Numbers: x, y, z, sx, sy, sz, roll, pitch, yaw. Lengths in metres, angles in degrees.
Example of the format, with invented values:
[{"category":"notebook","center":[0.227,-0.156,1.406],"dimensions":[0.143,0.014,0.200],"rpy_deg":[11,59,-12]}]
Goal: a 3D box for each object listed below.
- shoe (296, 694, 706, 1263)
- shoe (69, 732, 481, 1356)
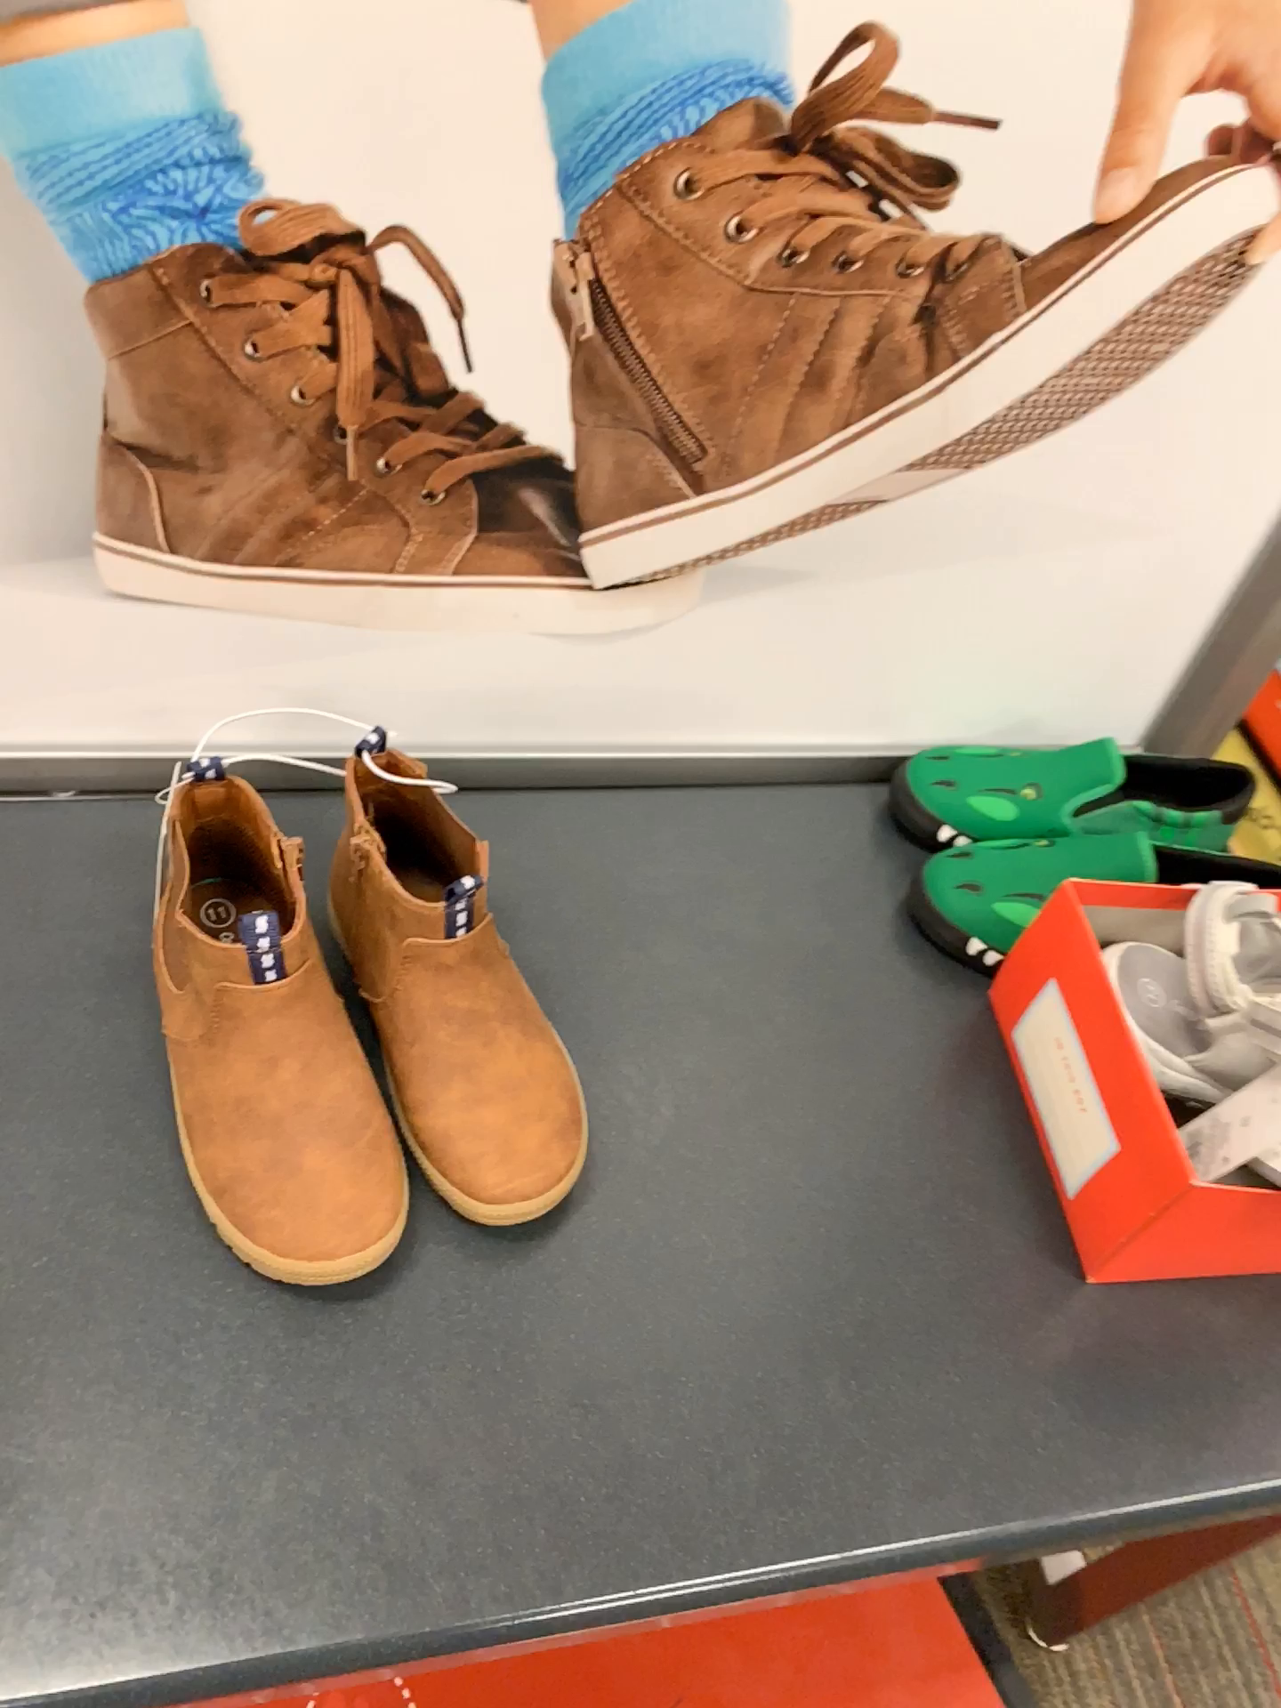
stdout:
[{"category":"shoe","center":[-0.066,0.042,0.526],"dimensions":[0.086,0.100,0.191],"rpy_deg":[-14,53,-25]},{"category":"shoe","center":[-0.140,0.062,0.487],"dimensions":[0.086,0.100,0.191],"rpy_deg":[-14,53,-25]}]
